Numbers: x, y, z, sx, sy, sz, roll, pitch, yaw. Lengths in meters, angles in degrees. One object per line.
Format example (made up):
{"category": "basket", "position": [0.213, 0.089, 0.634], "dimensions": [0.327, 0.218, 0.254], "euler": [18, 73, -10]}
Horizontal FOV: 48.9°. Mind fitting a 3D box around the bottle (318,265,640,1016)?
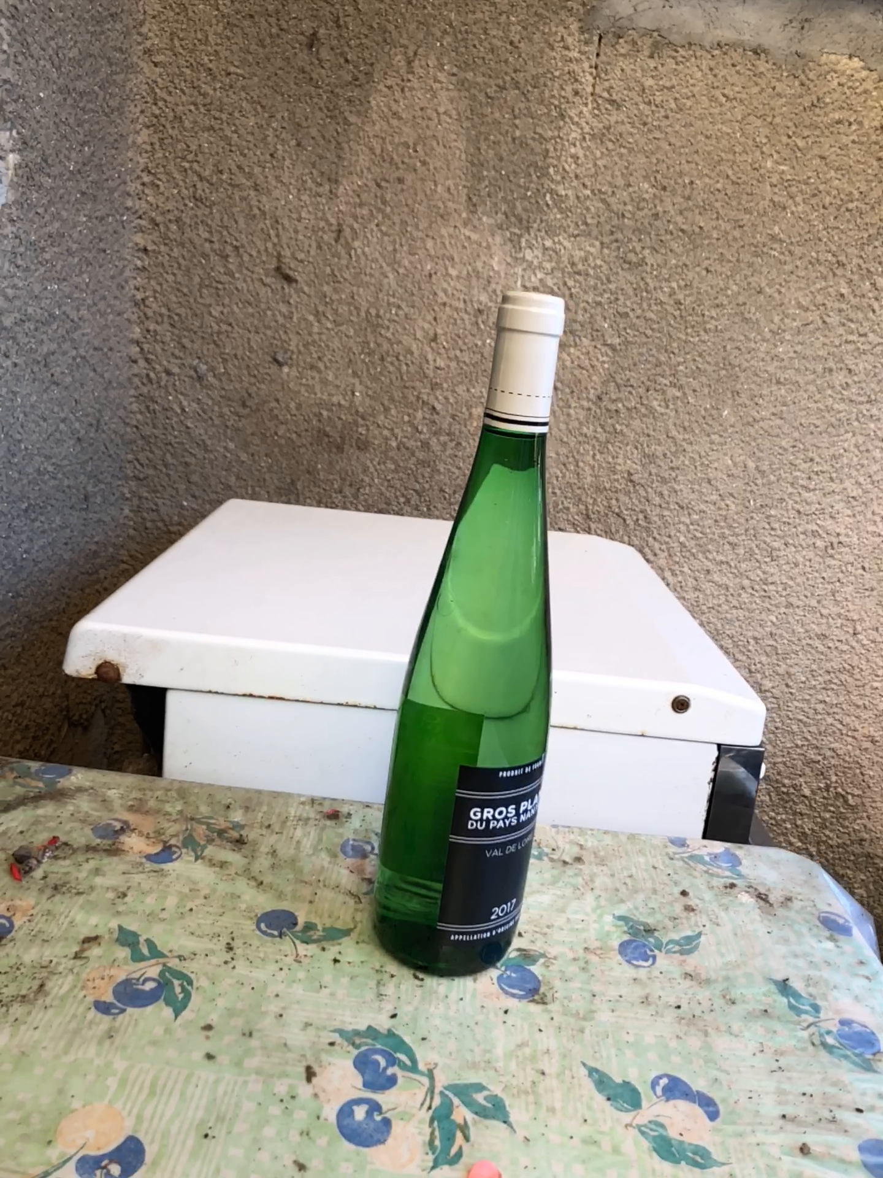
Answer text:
{"category": "bottle", "position": [0.011, 0.026, 0.474], "dimensions": [0.080, 0.339, 0.080], "euler": [7, 15, -2]}
